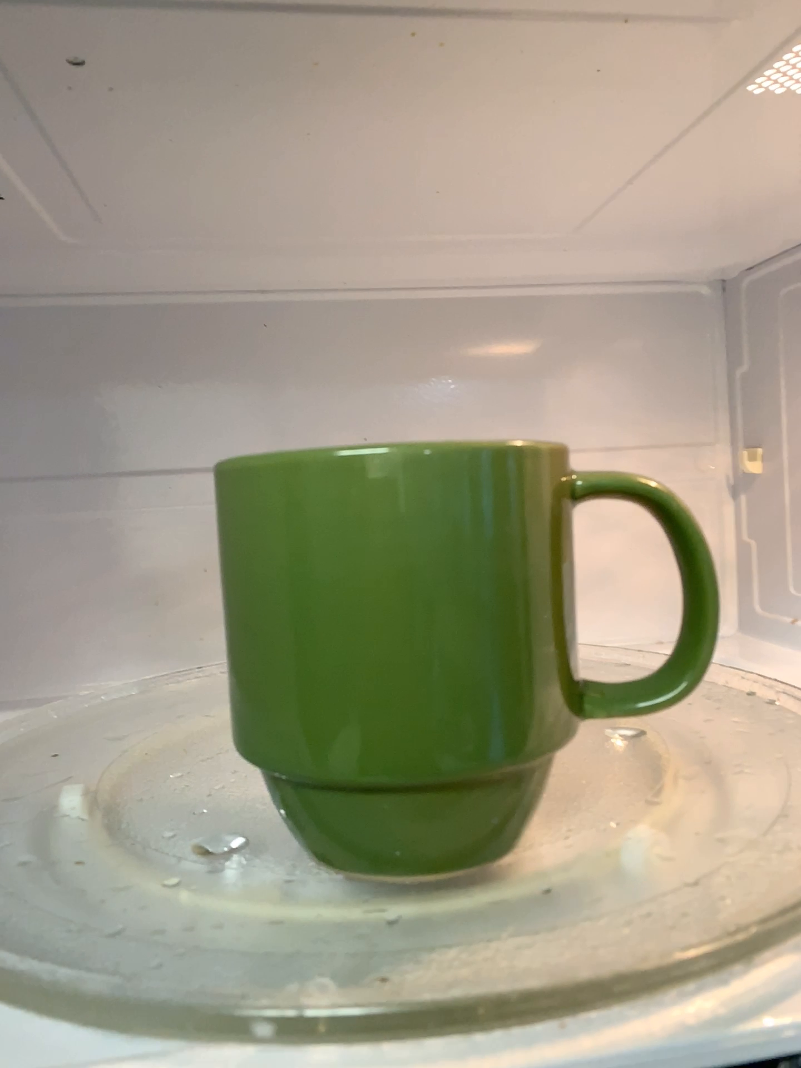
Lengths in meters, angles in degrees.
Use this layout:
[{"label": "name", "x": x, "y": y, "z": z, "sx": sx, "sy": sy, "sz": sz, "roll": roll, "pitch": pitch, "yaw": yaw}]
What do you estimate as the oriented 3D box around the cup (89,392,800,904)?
[{"label": "cup", "x": 0.010, "y": 0.020, "z": 0.193, "sx": 0.130, "sy": 0.090, "sz": 0.080, "roll": -3, "pitch": 3, "yaw": 2}]
